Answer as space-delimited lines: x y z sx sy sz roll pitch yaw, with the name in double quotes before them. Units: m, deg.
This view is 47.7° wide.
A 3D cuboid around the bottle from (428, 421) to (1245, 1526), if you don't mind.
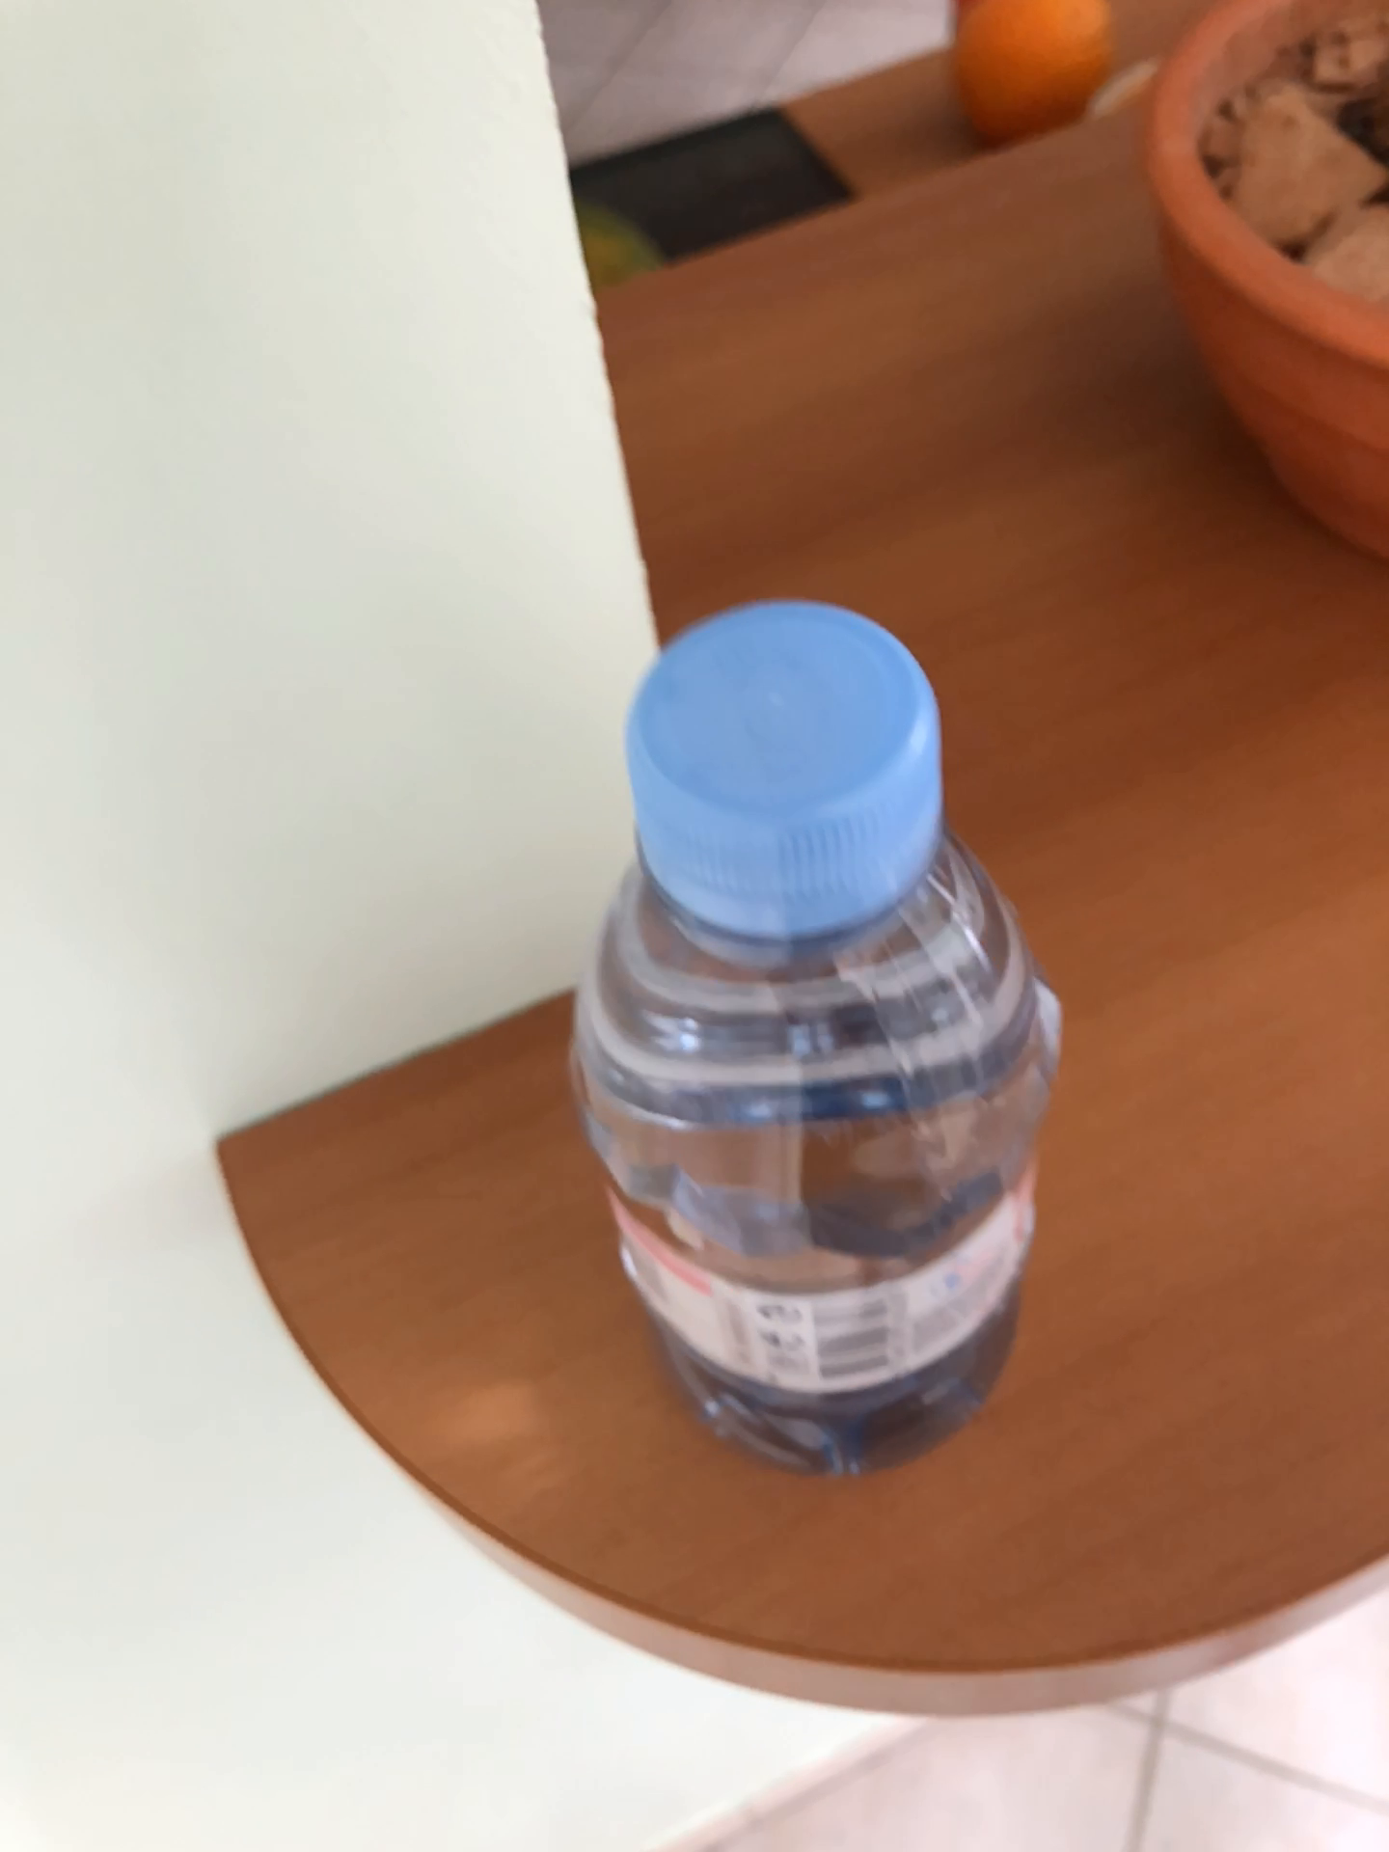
"bottle" 0.018 0.022 0.219 0.070 0.159 0.070 -4 54 5
